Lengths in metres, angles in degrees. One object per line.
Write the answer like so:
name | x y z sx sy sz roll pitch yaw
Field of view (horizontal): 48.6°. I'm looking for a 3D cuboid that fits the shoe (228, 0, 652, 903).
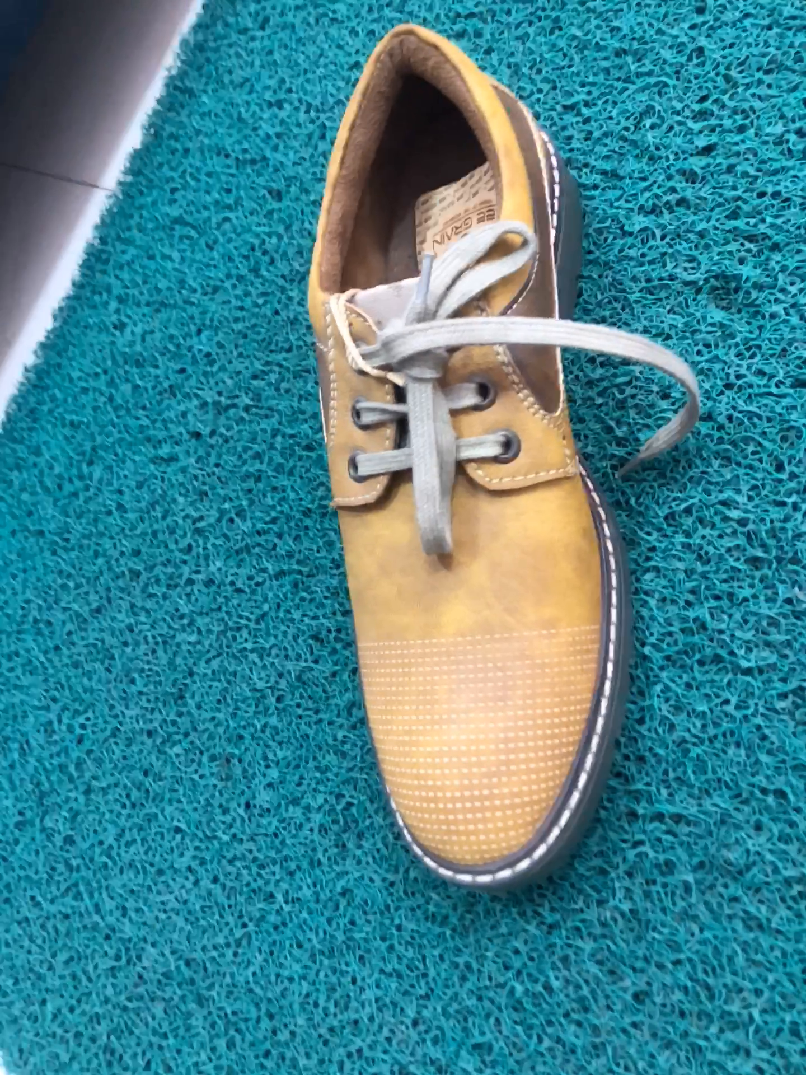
shoe | 0.018 -0.034 0.332 0.100 0.110 0.300 -8 72 27
